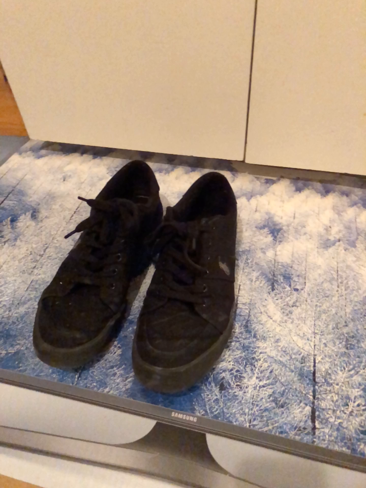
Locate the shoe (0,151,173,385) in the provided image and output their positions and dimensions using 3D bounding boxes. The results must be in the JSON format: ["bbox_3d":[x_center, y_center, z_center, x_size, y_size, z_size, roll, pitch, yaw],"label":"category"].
[{"bbox_3d":[-0.106,0.012,0.503,0.110,0.109,0.272,9,47,12],"label":"shoe"}]

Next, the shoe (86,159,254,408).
[{"bbox_3d":[0.004,0.028,0.468,0.110,0.109,0.262,9,47,12],"label":"shoe"}]
